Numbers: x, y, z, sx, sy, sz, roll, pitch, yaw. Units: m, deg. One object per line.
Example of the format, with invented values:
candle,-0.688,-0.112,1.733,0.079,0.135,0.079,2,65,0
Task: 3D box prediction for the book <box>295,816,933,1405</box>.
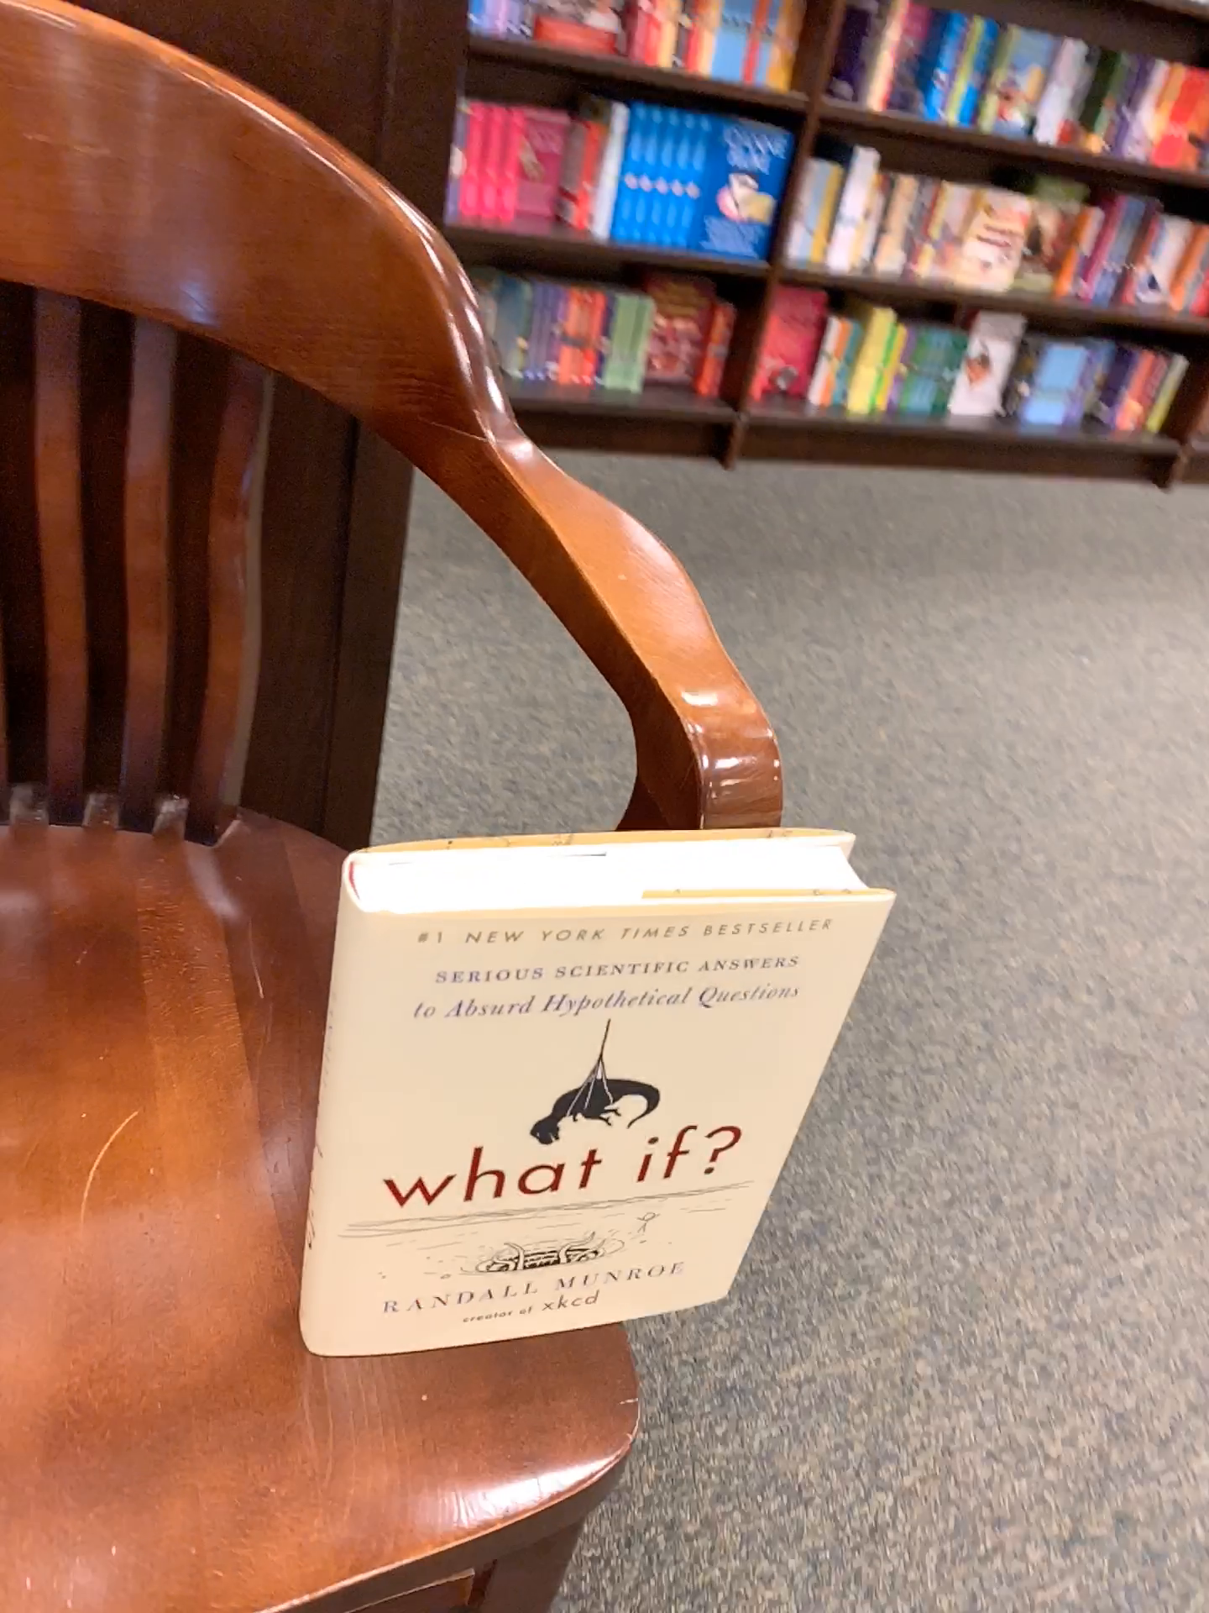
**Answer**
book,-0.010,0.116,0.459,0.188,0.239,0.050,-1,37,-20
